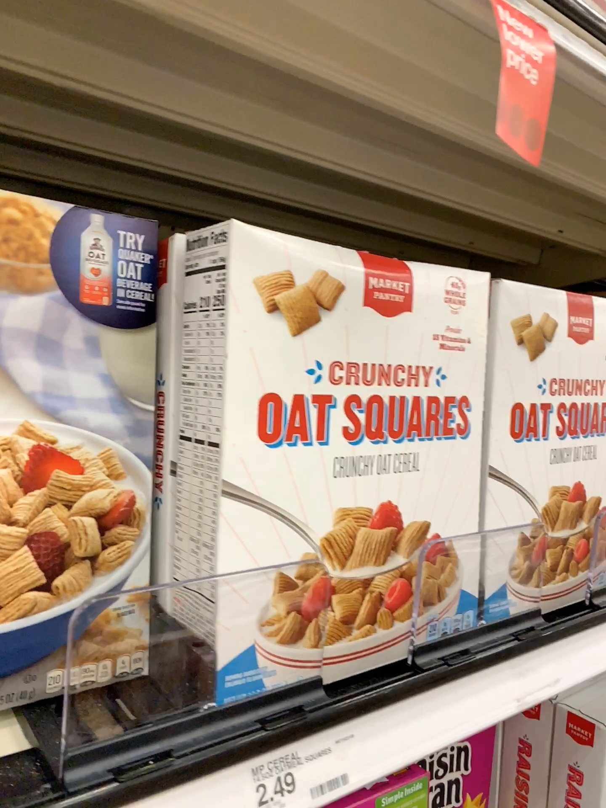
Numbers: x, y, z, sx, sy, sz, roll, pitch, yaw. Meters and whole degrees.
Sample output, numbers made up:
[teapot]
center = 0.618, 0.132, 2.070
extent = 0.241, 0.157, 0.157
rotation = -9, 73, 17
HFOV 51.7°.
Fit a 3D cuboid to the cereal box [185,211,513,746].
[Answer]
[cereal box]
center = 0.036, 0.036, 0.373
extent = 0.190, 0.250, 0.060
rotation = 2, 3, -39
